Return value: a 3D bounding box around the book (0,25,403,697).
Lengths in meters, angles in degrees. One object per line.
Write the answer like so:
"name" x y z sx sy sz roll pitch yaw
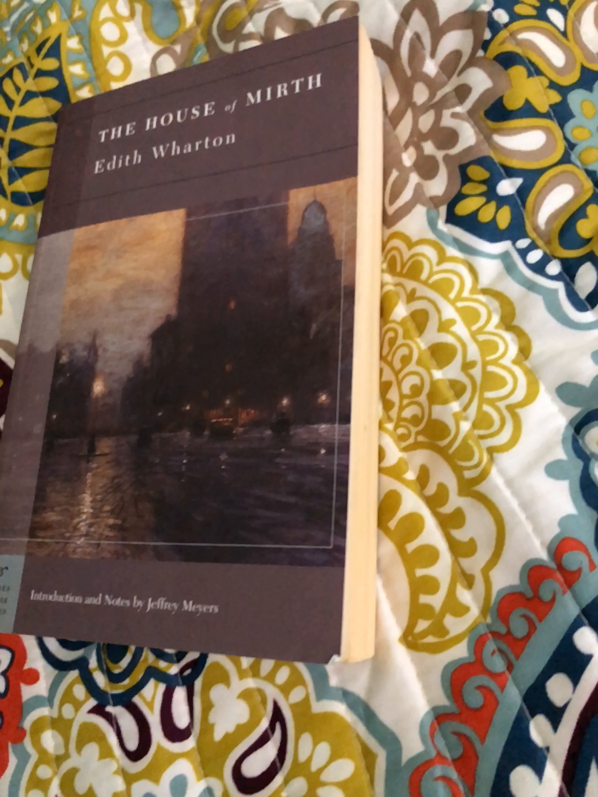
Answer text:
"book" -0.039 -0.014 0.235 0.142 0.040 0.195 -3 77 24
